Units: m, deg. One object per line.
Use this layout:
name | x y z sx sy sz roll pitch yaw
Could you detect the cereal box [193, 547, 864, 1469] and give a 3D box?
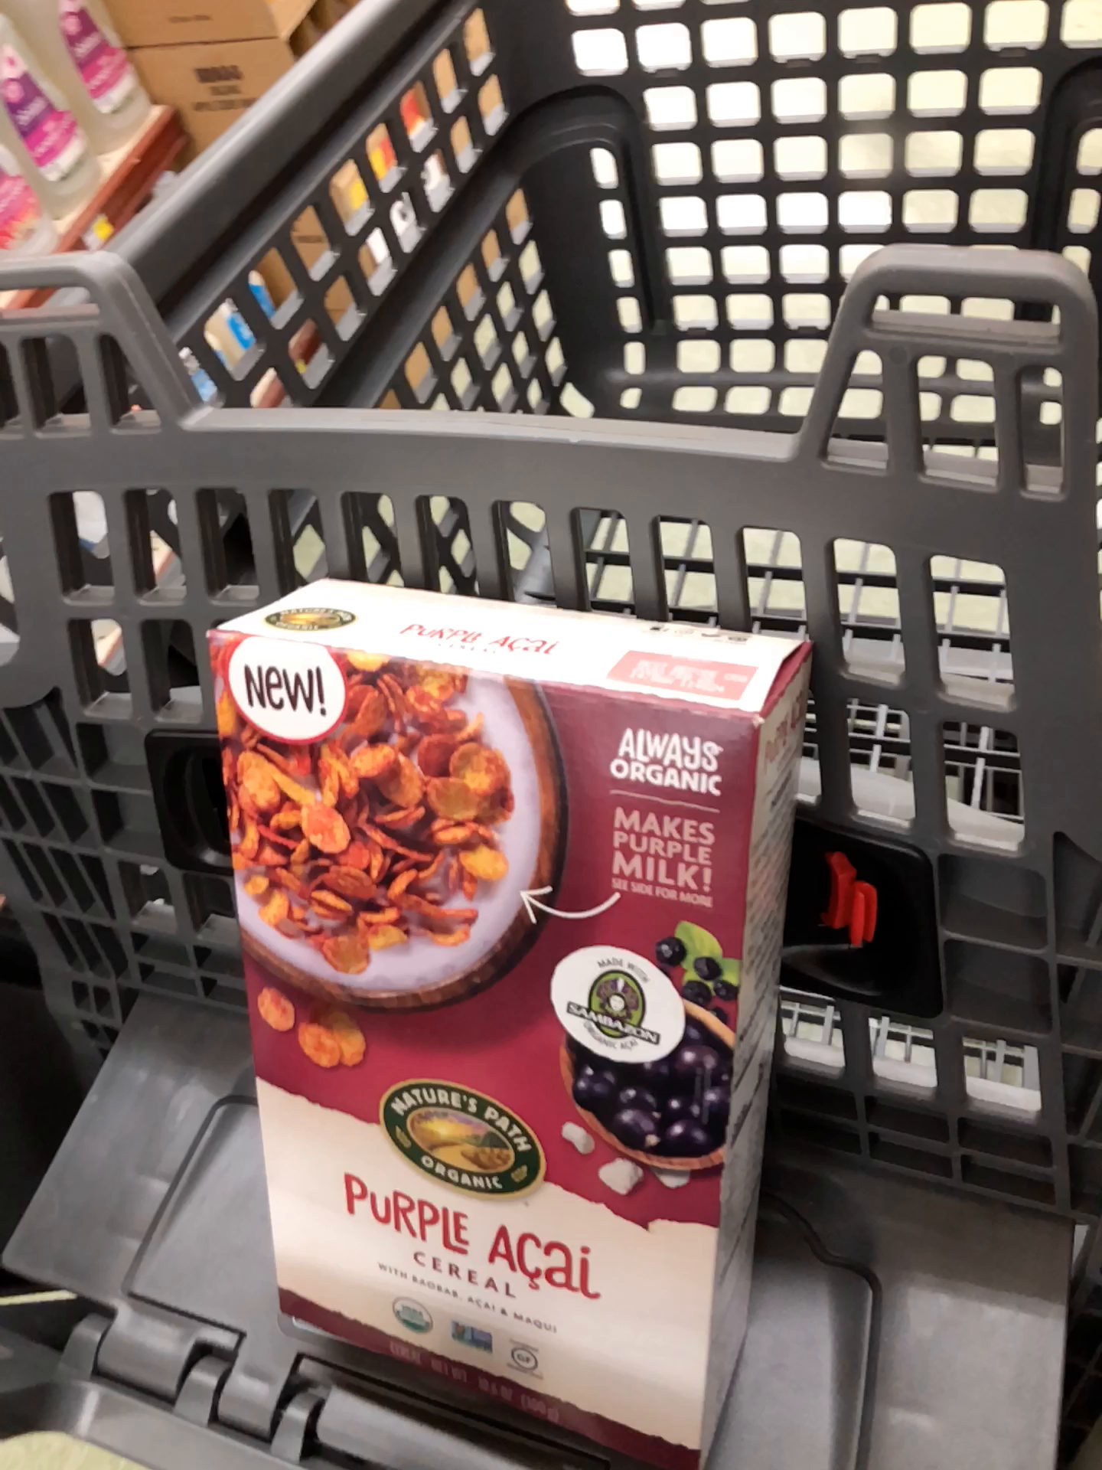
cereal box | -0.009 0.090 0.387 0.170 0.270 0.070 10 25 20
